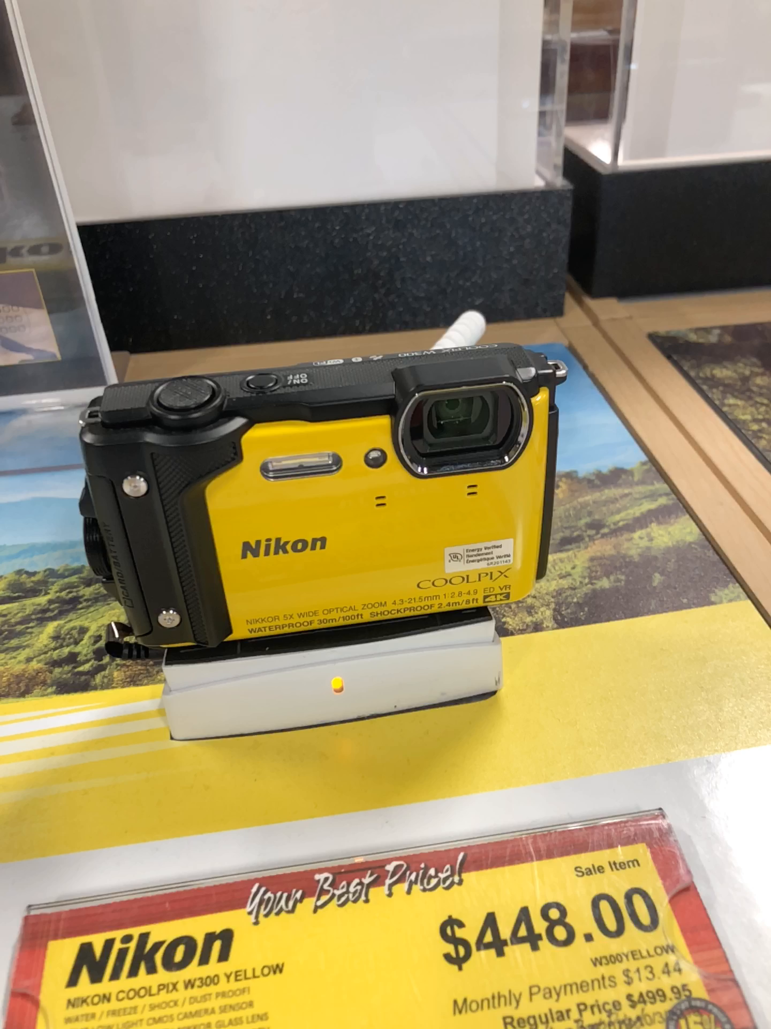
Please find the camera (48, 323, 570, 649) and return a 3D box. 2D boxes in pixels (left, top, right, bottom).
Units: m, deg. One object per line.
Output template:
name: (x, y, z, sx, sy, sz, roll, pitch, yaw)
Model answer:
camera: (-0.015, -0.007, 0.209, 0.110, 0.060, 0.030, -7, 35, -5)
